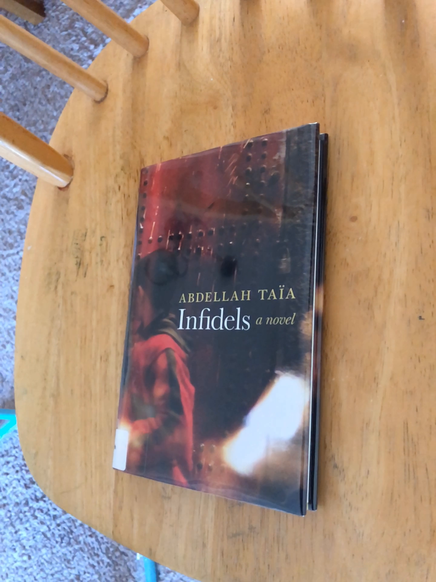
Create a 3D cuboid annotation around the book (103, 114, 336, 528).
[{"bbox_3d":[-0.003,0.012,0.303,0.143,0.020,0.216,-2,78,37],"label":"book"}]
